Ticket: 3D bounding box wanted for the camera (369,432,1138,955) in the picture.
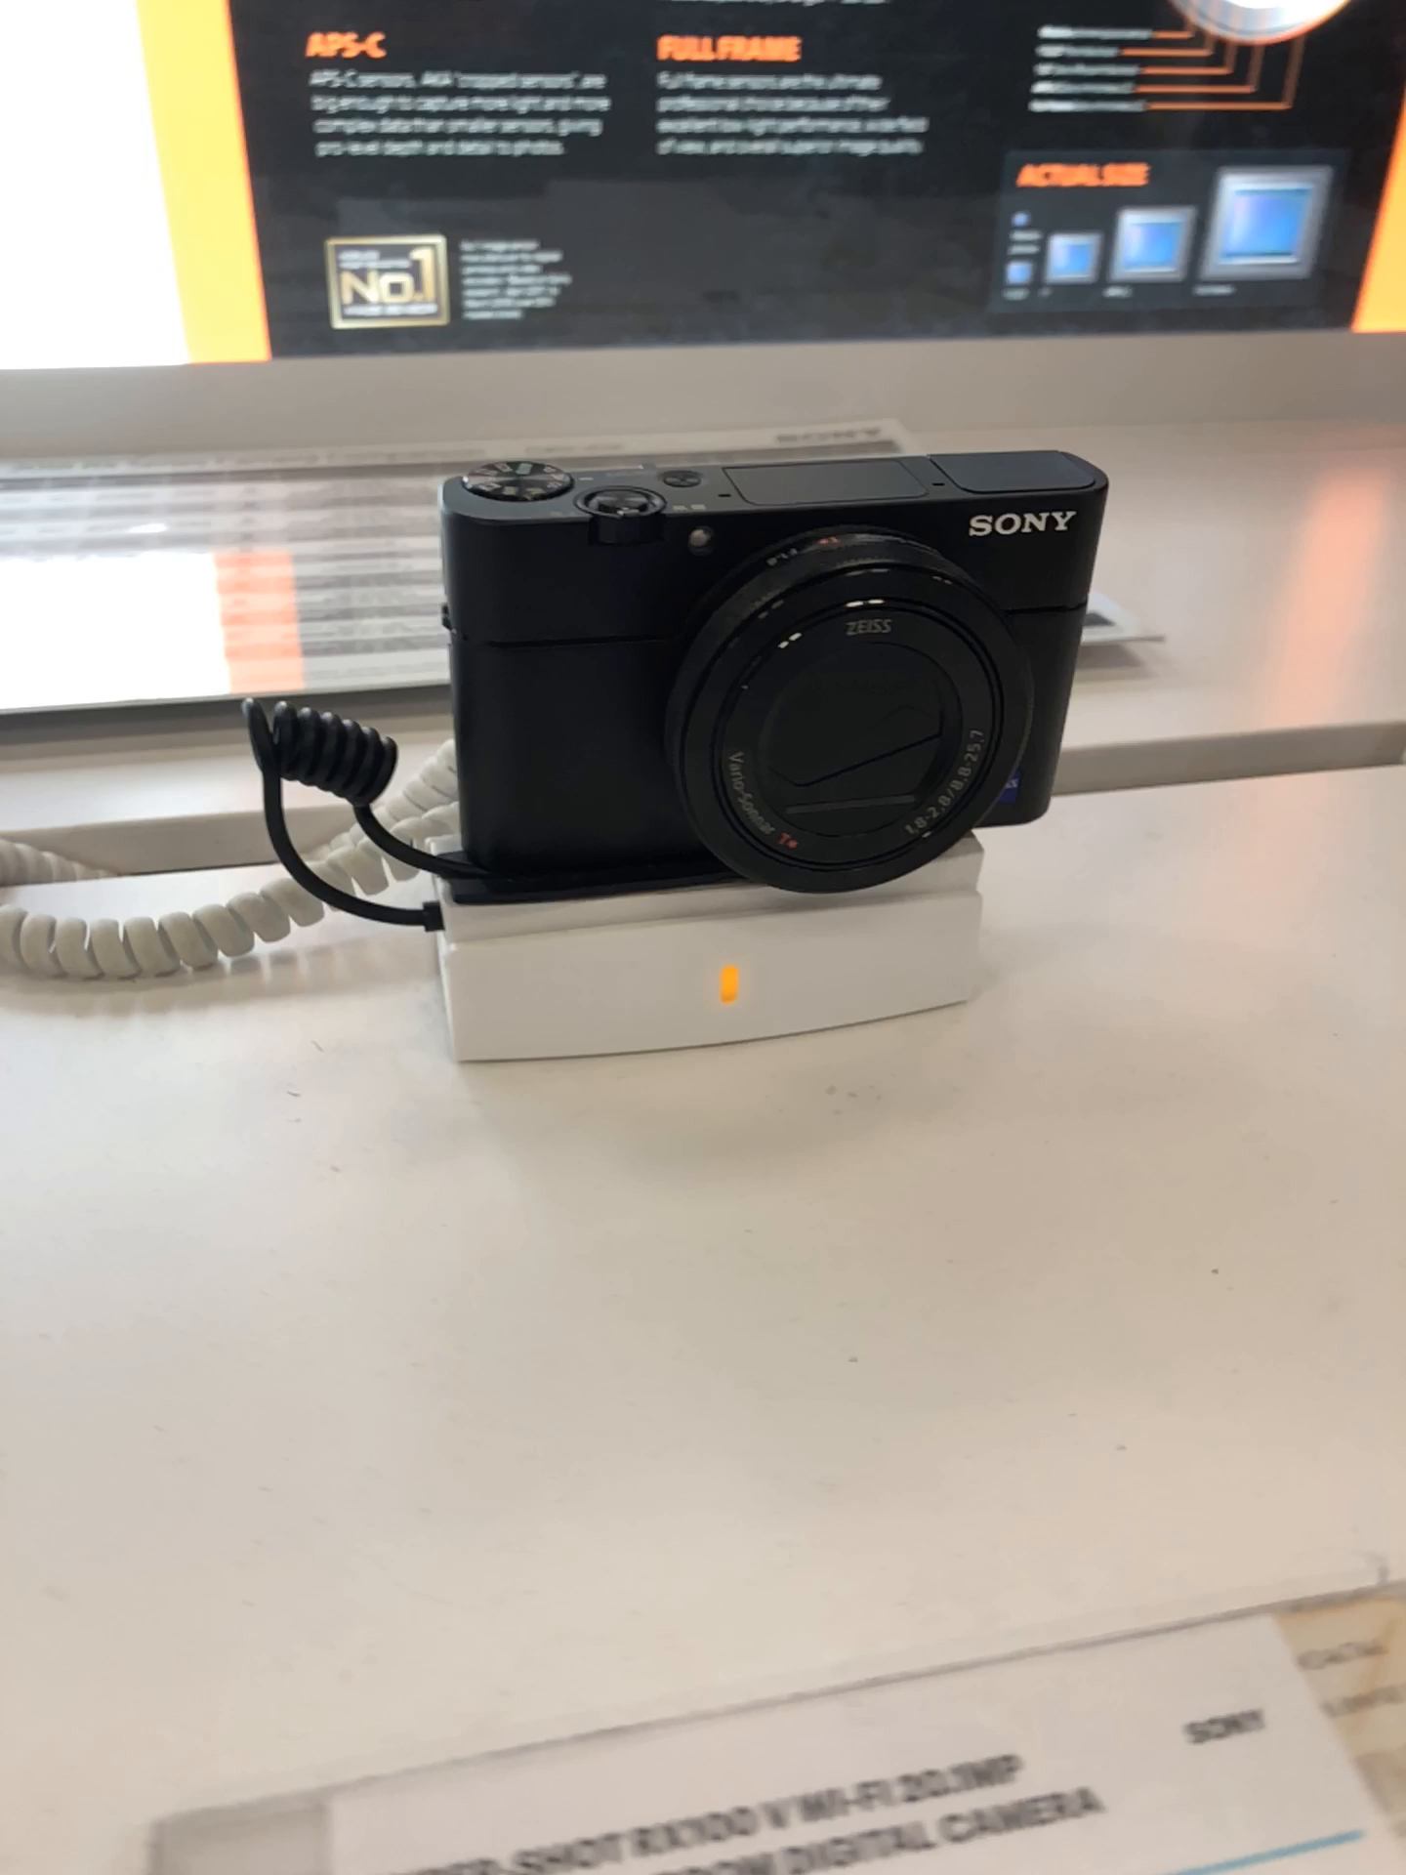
[{"bbox_3d":[0.006,-0.040,0.255,0.110,0.070,0.030,-6,39,-12],"label":"camera"}]
